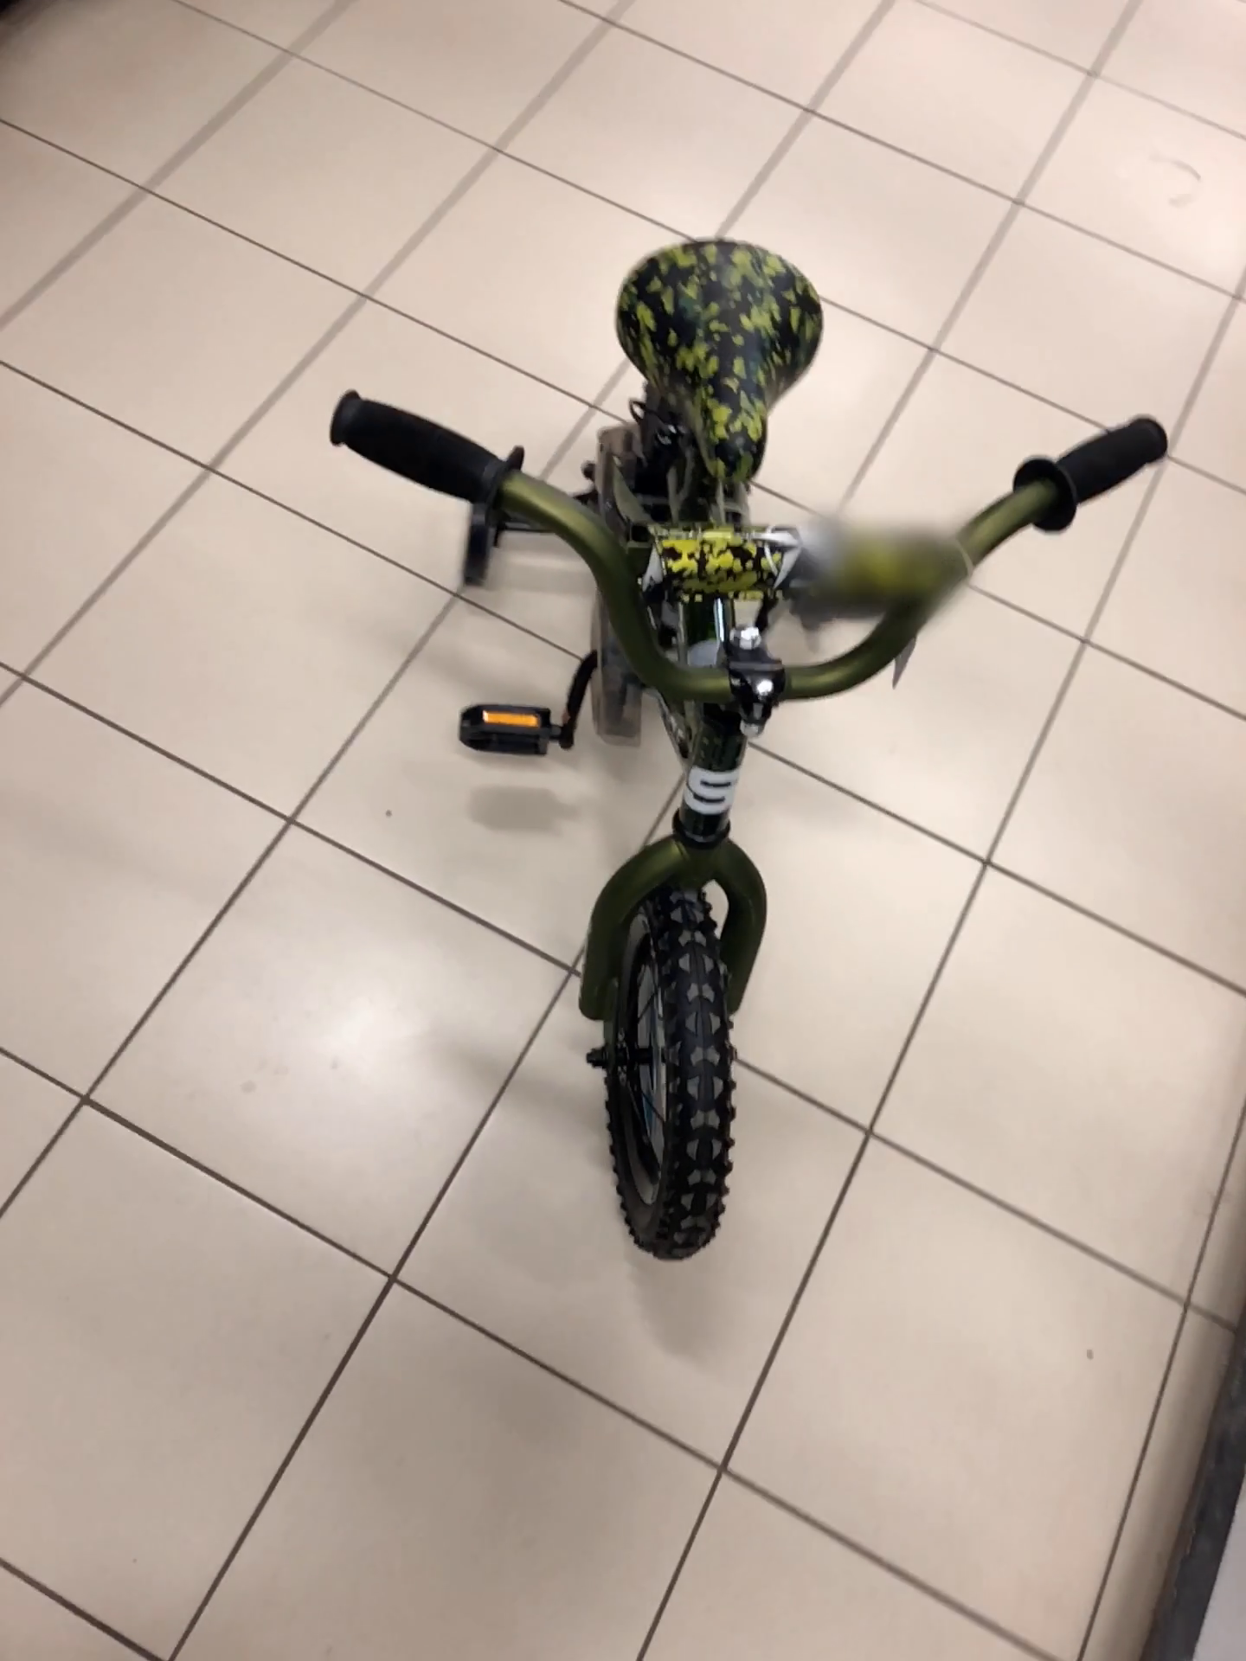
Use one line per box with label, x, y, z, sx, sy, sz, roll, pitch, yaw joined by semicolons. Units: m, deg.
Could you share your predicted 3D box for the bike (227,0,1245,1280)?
bike;0.076;-0.139;0.998;0.533;0.557;0.818;2;62;-6
